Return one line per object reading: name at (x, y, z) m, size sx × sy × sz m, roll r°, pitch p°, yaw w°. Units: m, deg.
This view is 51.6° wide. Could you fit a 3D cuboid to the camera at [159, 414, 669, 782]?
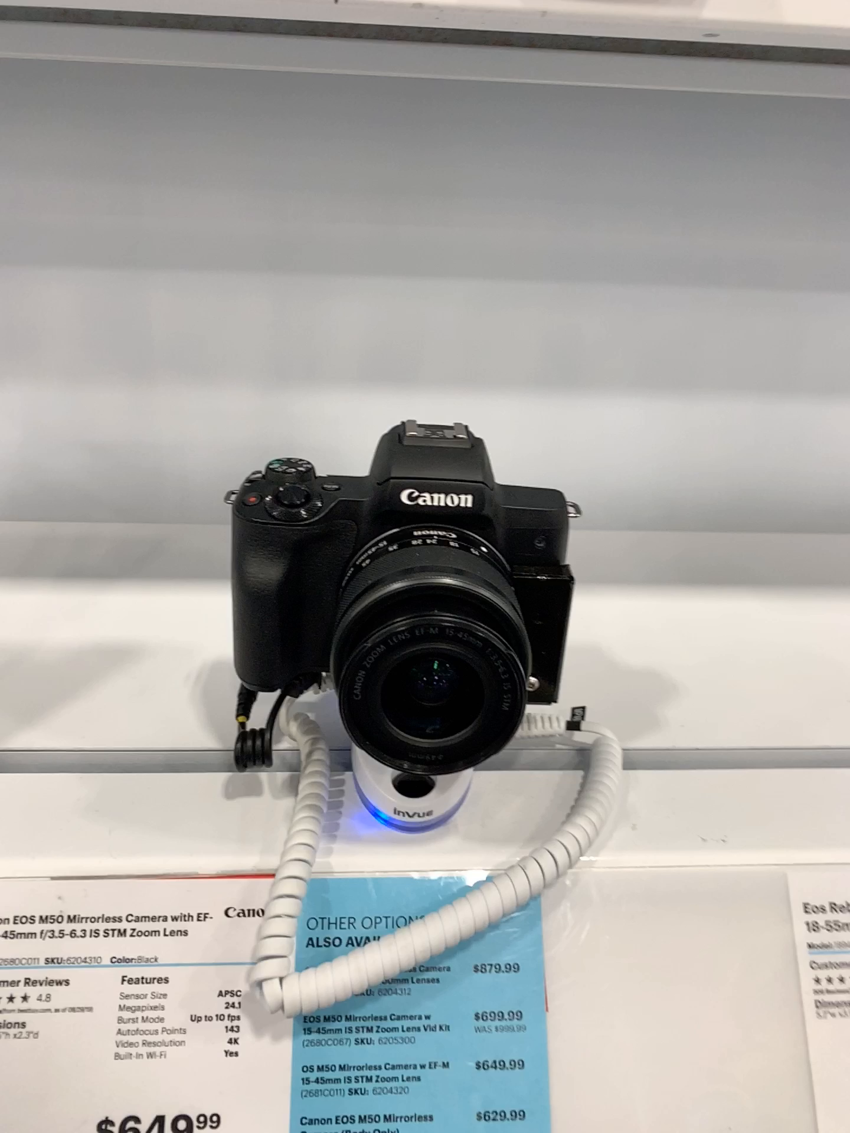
camera at (-0.006, 0.004, 0.290) m, size 0.130 × 0.080 × 0.111 m, roll 1°, pitch 23°, yaw -4°
